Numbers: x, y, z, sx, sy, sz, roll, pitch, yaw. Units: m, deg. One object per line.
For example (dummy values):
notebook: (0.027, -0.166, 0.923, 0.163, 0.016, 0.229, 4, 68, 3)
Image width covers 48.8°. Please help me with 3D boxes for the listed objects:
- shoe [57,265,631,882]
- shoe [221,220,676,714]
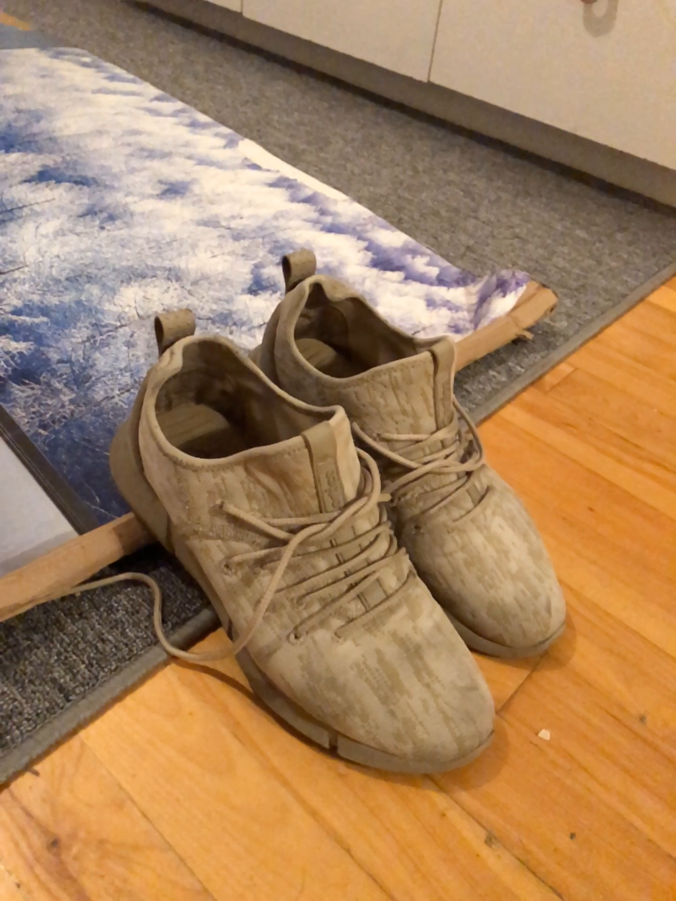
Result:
shoe: (-0.009, 0.058, 0.360, 0.111, 0.119, 0.250, -32, 80, -37)
shoe: (0.058, 0.011, 0.450, 0.111, 0.119, 0.250, -29, 82, -35)
